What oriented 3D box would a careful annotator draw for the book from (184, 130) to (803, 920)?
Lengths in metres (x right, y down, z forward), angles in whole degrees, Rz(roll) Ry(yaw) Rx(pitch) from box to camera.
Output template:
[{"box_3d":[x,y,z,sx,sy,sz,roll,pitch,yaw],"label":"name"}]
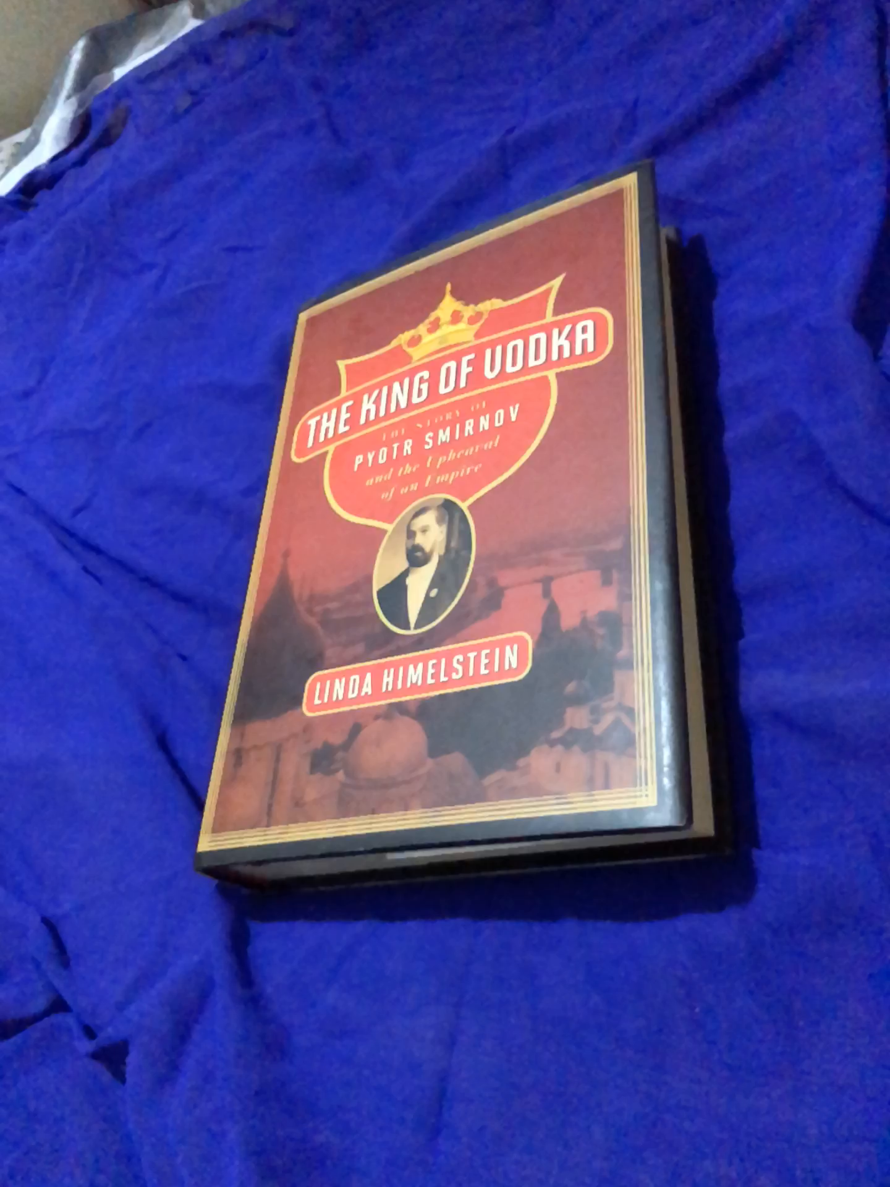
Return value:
[{"box_3d":[0.015,-0.026,0.342,0.171,0.050,0.250,-14,55,28],"label":"book"}]
